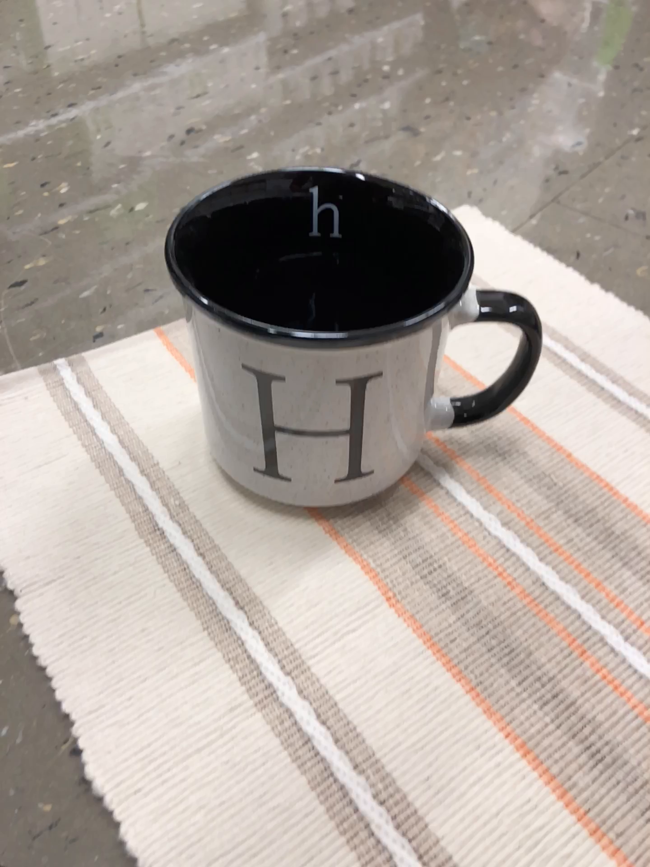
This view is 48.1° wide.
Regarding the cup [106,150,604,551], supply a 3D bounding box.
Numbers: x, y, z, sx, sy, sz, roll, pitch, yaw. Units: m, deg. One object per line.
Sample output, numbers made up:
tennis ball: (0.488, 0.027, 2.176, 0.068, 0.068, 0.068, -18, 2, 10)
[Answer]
cup: (0.011, -0.032, 0.275, 0.140, 0.100, 0.100, 5, 47, 3)
